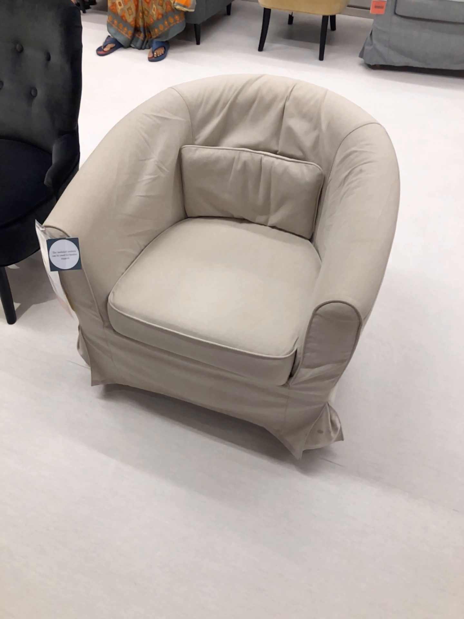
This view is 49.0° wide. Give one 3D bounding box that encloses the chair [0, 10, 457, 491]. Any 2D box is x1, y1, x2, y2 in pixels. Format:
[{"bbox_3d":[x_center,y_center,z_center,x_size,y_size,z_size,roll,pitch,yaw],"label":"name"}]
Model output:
[{"bbox_3d":[-0.021,-0.162,1.316,0.861,0.805,0.704,15,51,14],"label":"chair"}]
